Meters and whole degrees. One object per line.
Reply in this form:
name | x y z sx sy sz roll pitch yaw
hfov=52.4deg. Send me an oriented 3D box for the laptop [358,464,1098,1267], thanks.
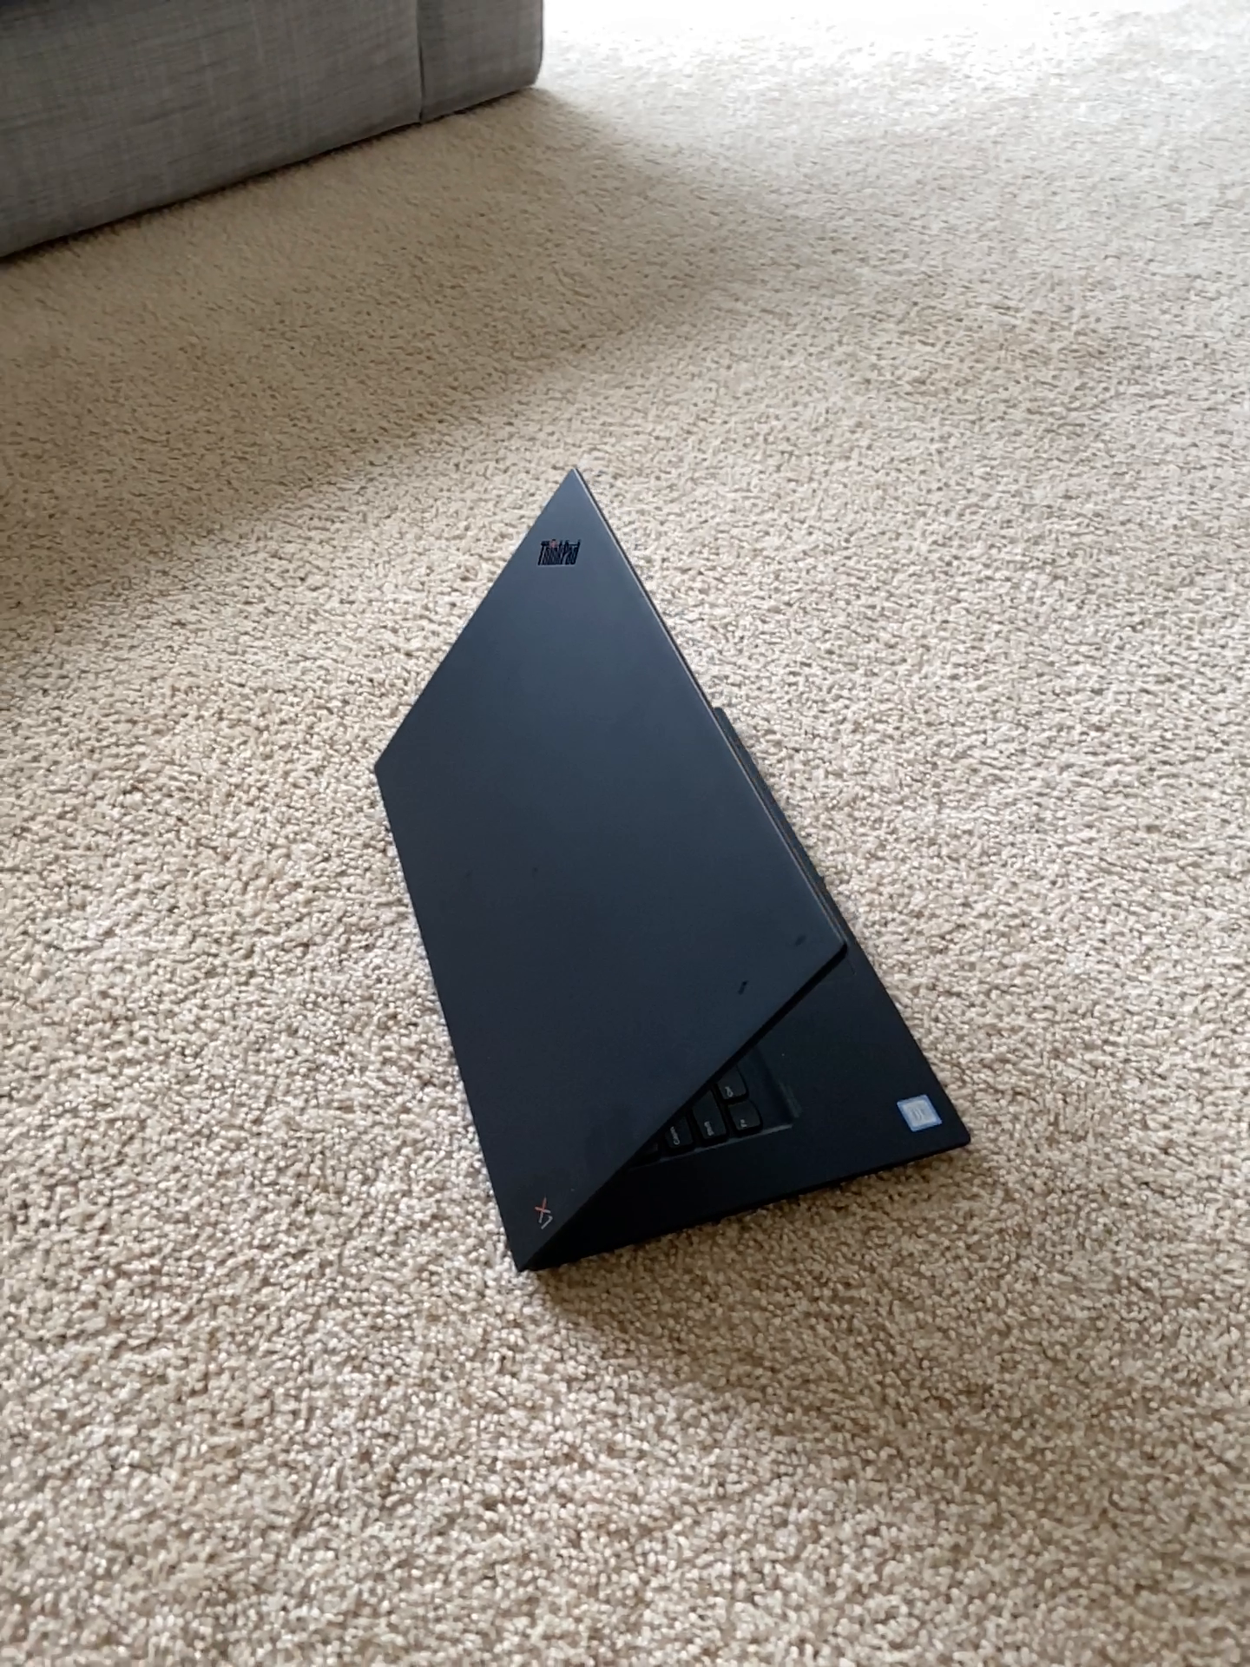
laptop | 0.019 -0.007 0.681 0.243 0.198 0.356 -11 48 -16
